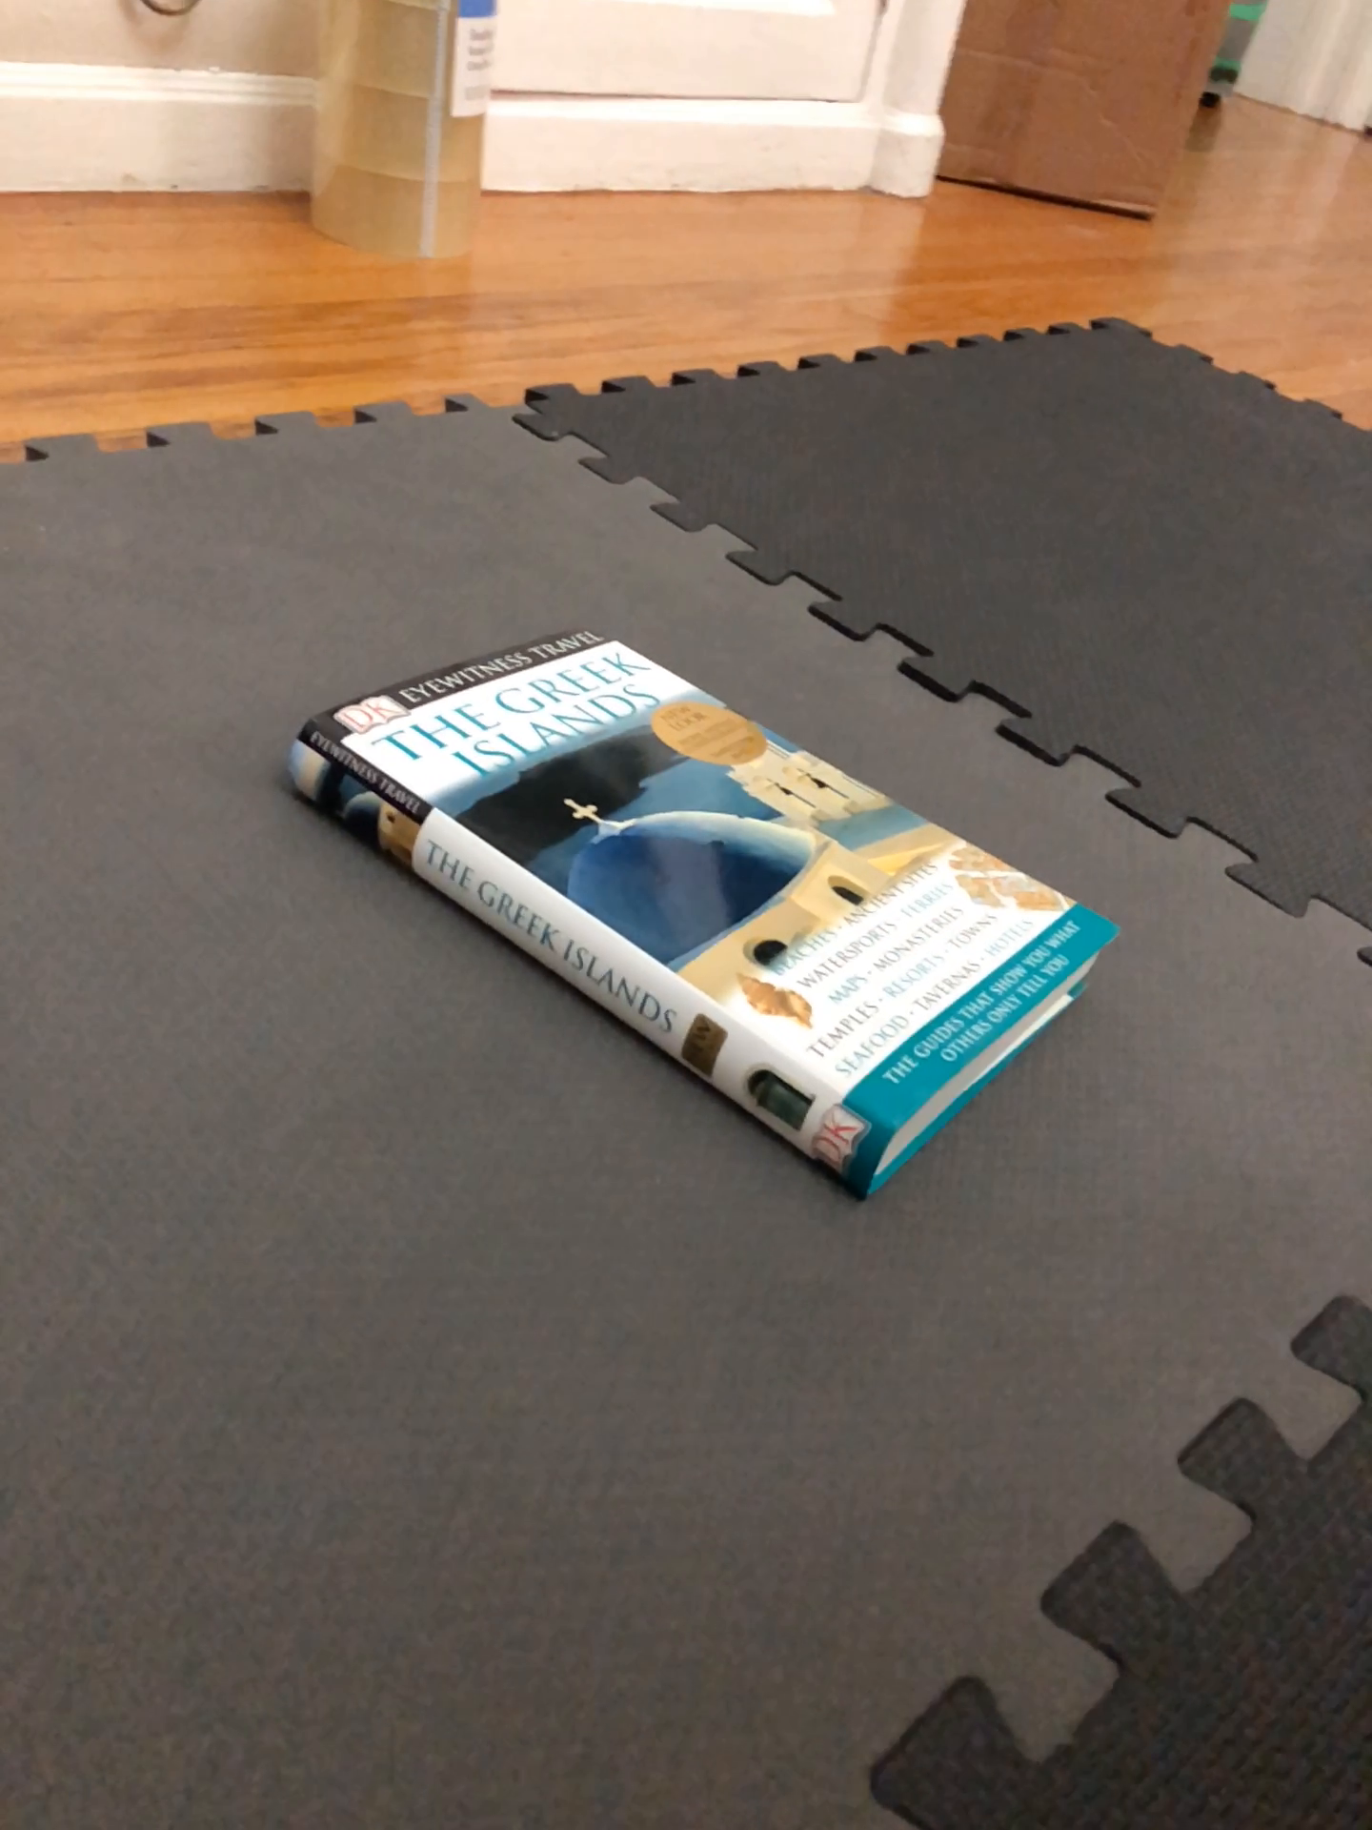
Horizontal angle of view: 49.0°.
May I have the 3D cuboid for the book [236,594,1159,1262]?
[{"bbox_3d":[0.002,-0.017,0.469,0.240,0.030,0.161,34,42,25],"label":"book"}]
